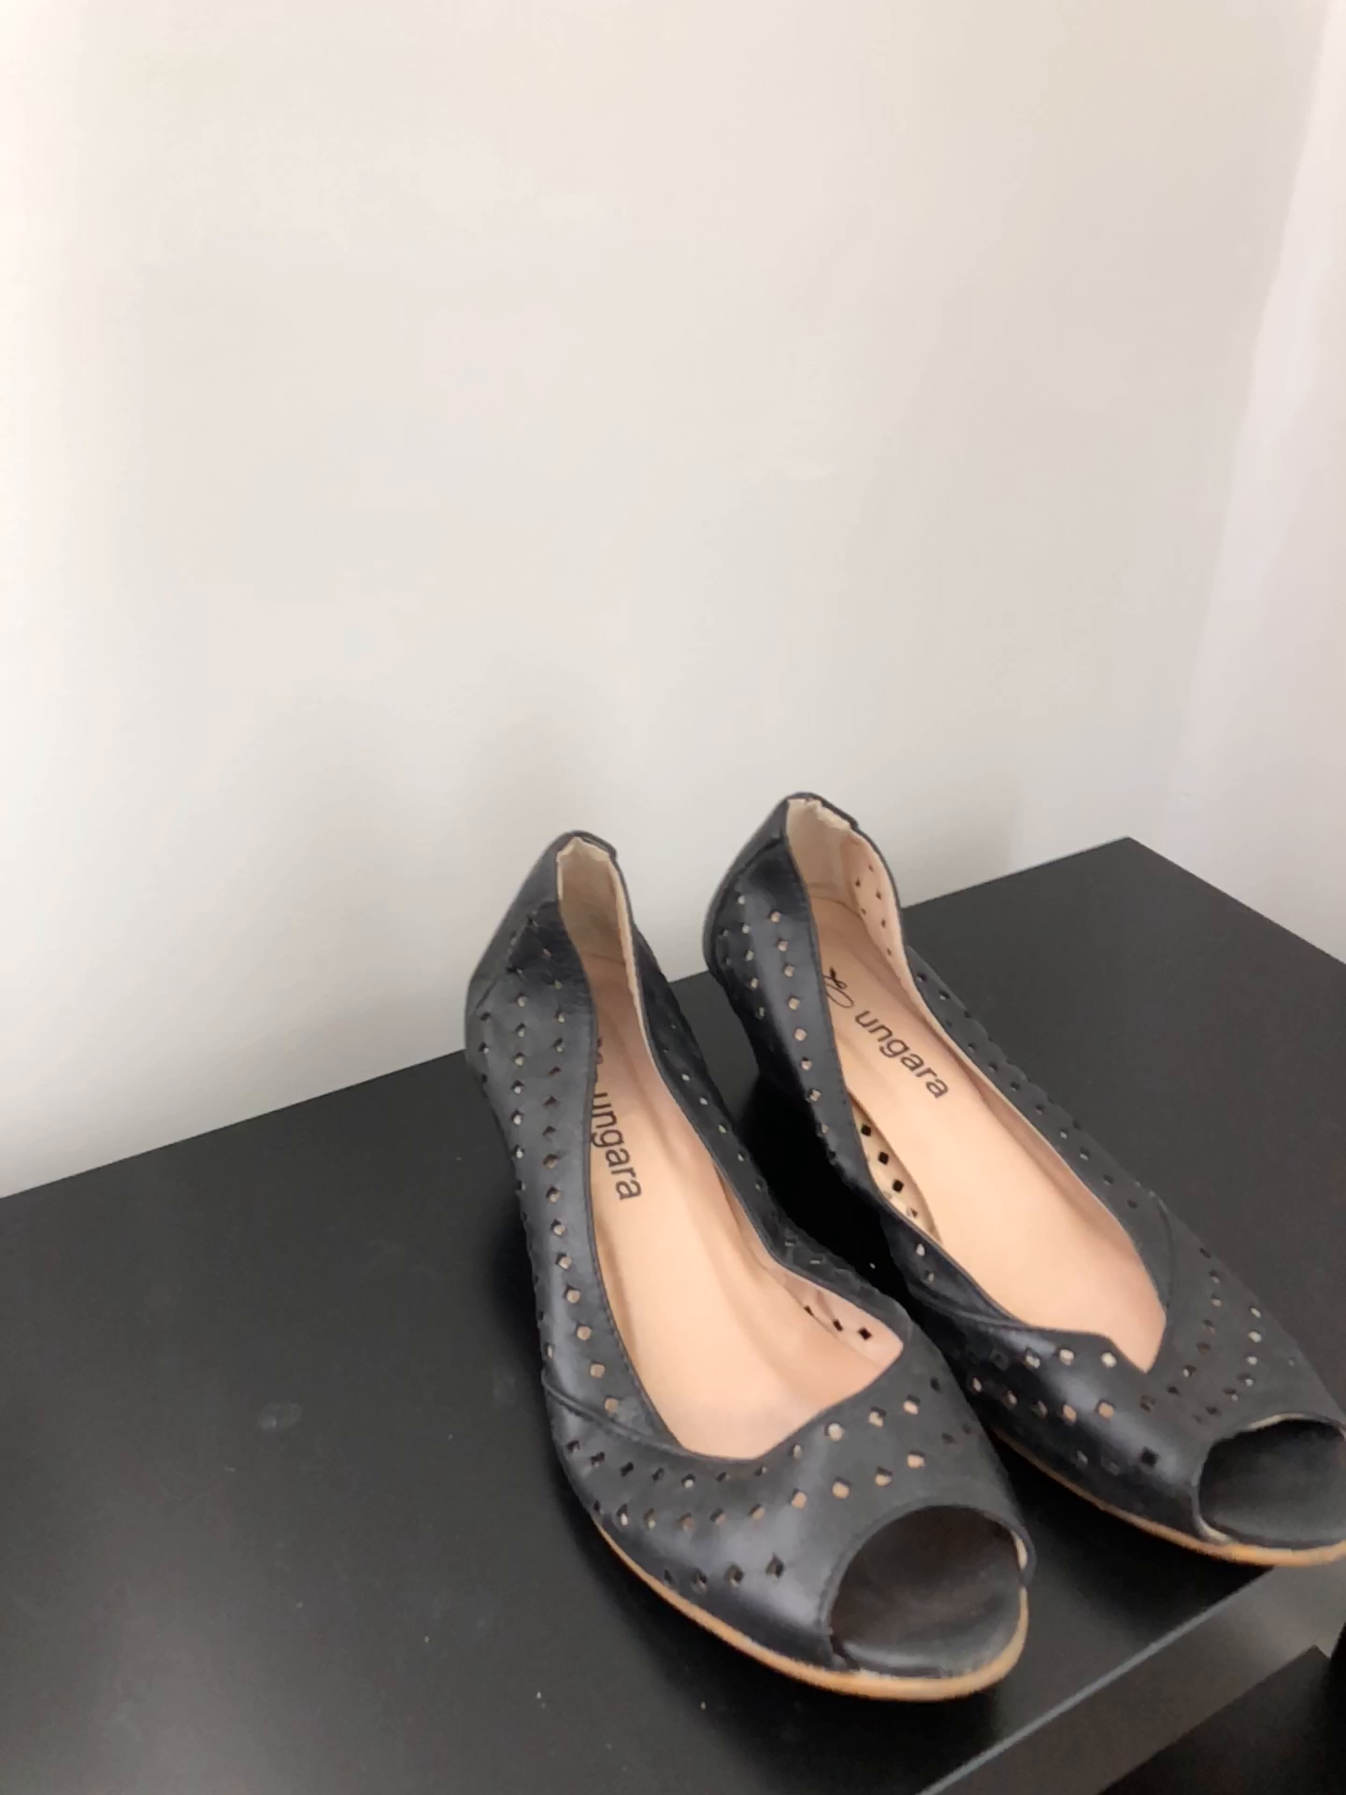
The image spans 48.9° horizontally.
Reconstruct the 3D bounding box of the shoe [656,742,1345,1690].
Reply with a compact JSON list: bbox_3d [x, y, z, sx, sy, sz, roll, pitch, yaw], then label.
[{"bbox_3d":[0.088,0.056,0.373,0.085,0.100,0.221,-16,35,-26],"label":"shoe"}]

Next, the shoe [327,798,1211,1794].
[{"bbox_3d":[0.000,0.077,0.352,0.085,0.100,0.231,-15,35,-25],"label":"shoe"}]
